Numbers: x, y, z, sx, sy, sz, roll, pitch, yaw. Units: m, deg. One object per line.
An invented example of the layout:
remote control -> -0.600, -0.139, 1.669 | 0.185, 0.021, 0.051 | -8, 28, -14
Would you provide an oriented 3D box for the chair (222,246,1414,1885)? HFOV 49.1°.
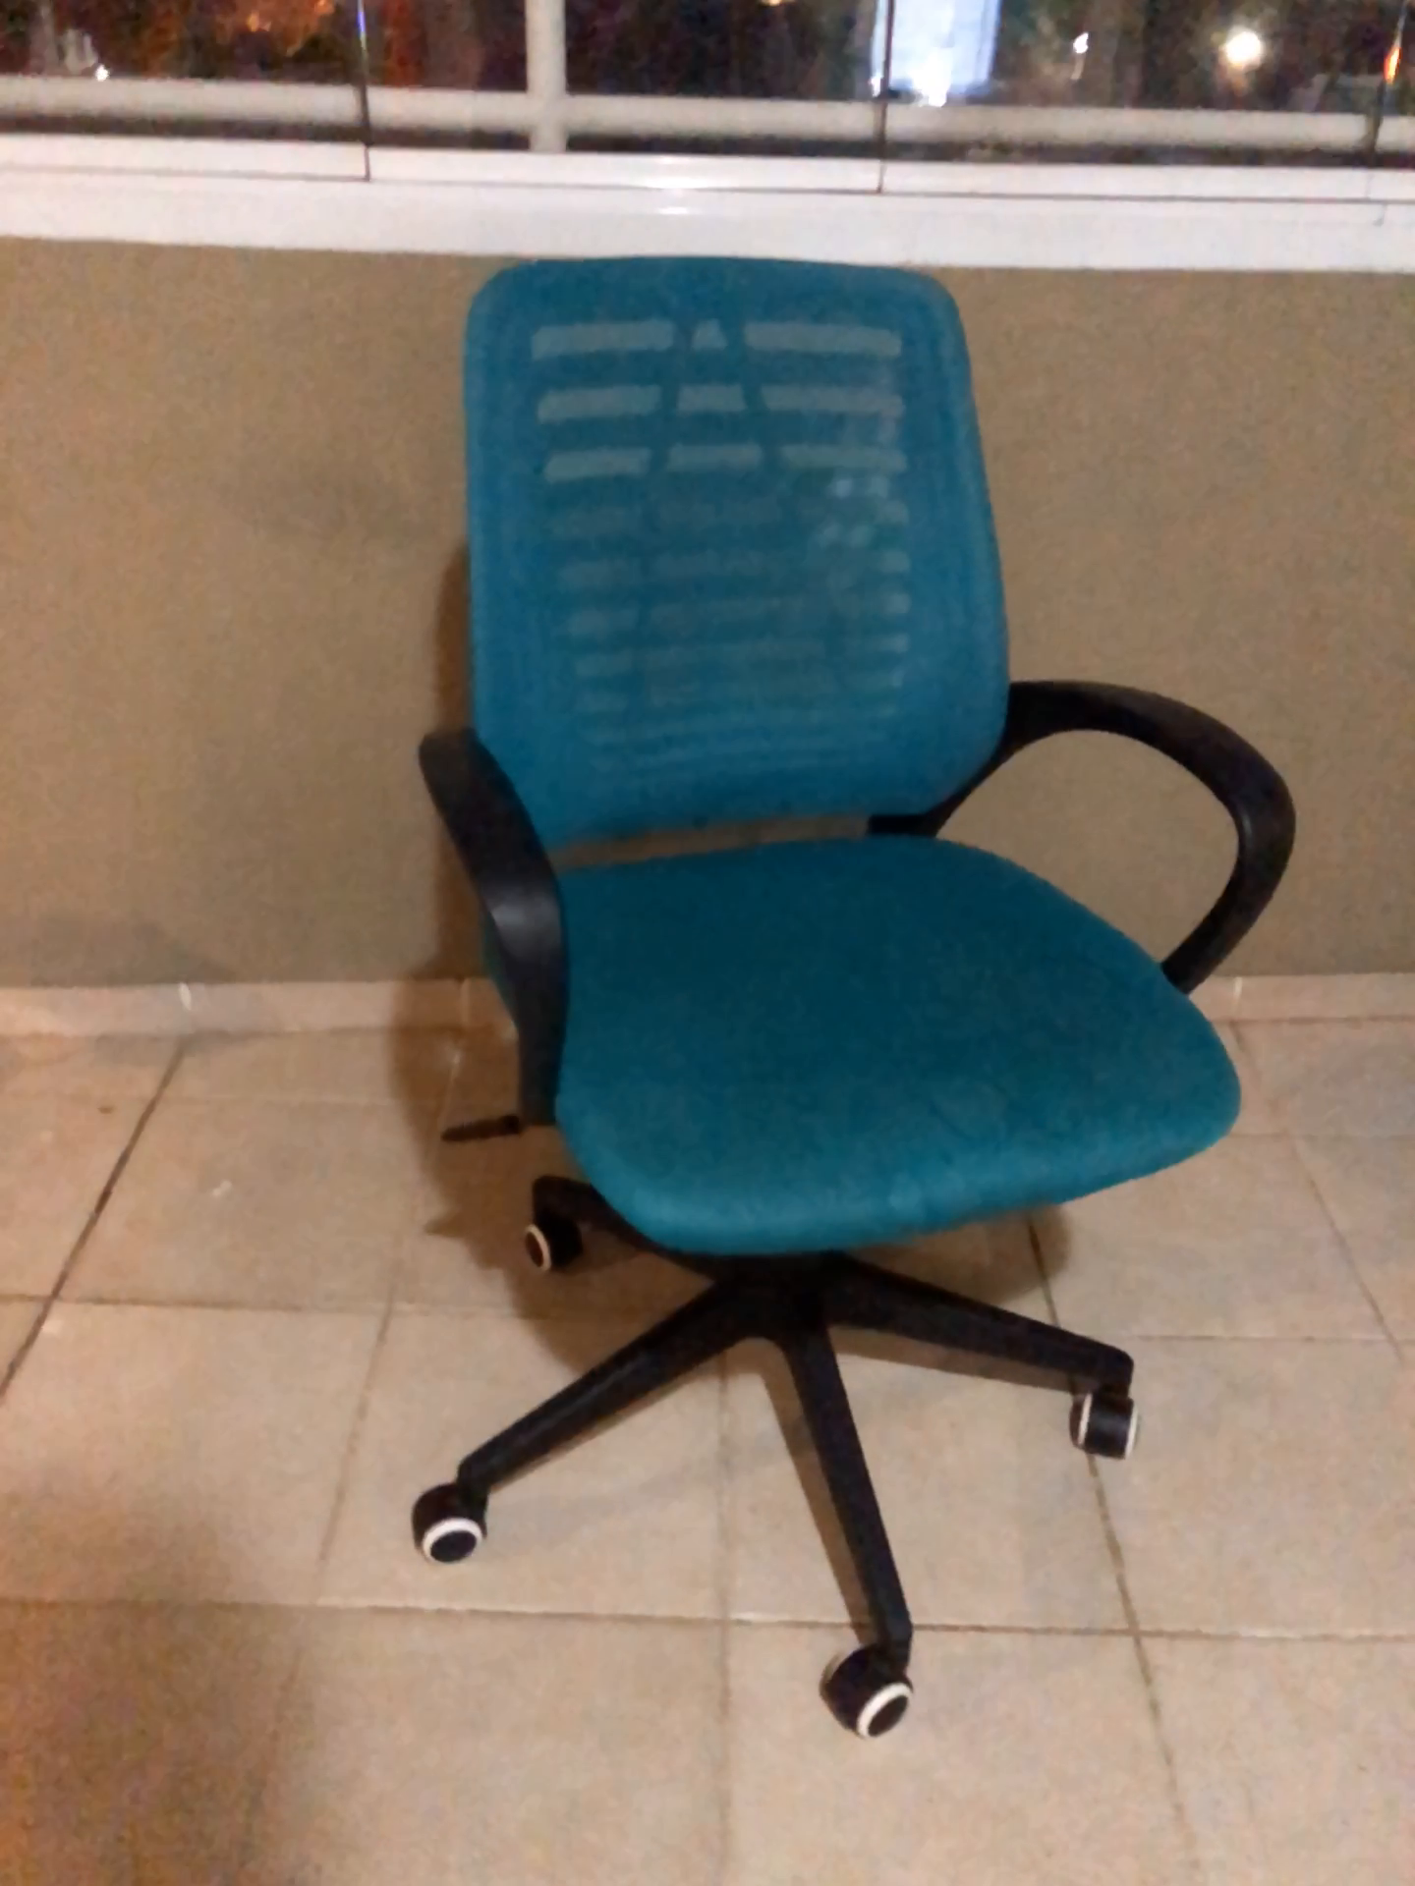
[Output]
chair -> 0.071, 0.009, 1.216 | 0.711, 0.923, 0.745 | -8, 32, -16
